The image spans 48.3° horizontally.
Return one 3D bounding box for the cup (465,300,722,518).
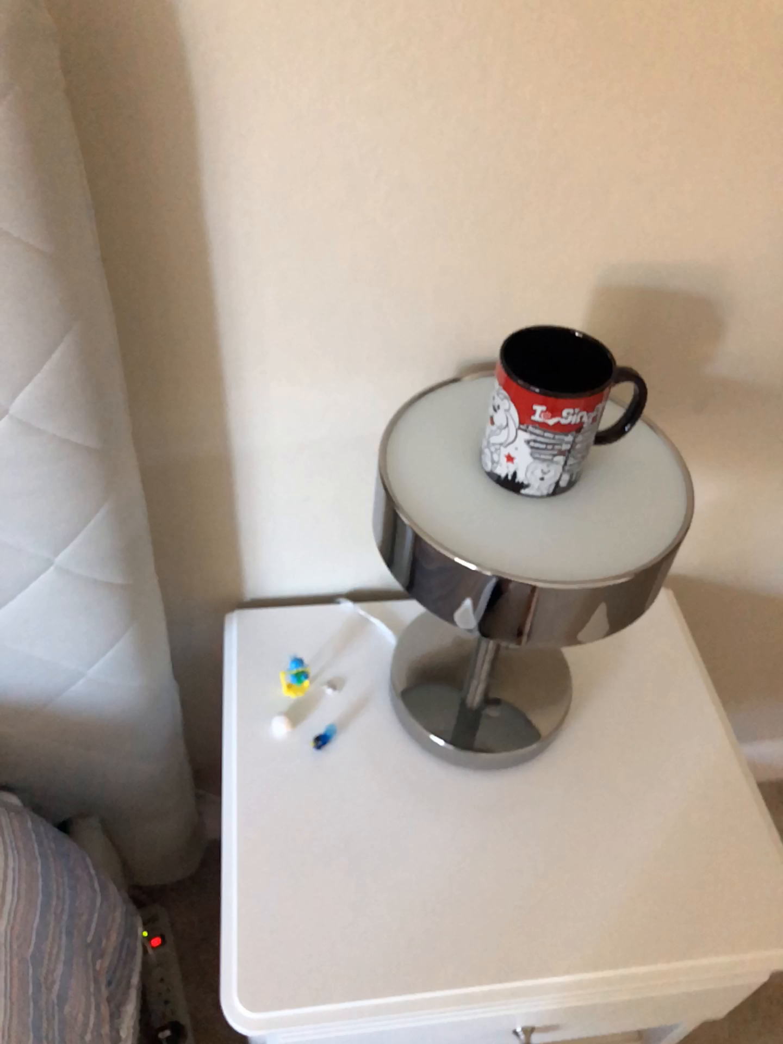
[{"bbox_3d":[0.135,-0.081,0.615,0.130,0.100,0.090,-11,48,-17],"label":"cup"}]
